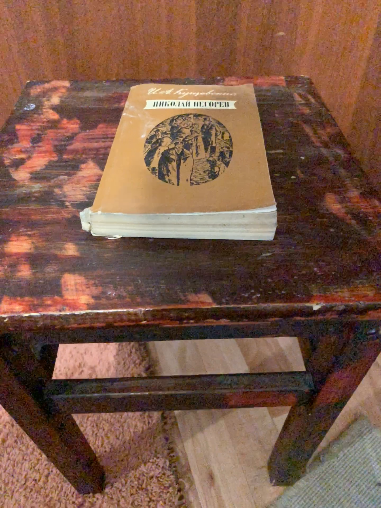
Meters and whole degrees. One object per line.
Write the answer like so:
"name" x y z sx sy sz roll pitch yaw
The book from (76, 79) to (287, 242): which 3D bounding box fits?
"book" -0.003 -0.087 0.317 0.130 0.024 0.192 -1 47 2
